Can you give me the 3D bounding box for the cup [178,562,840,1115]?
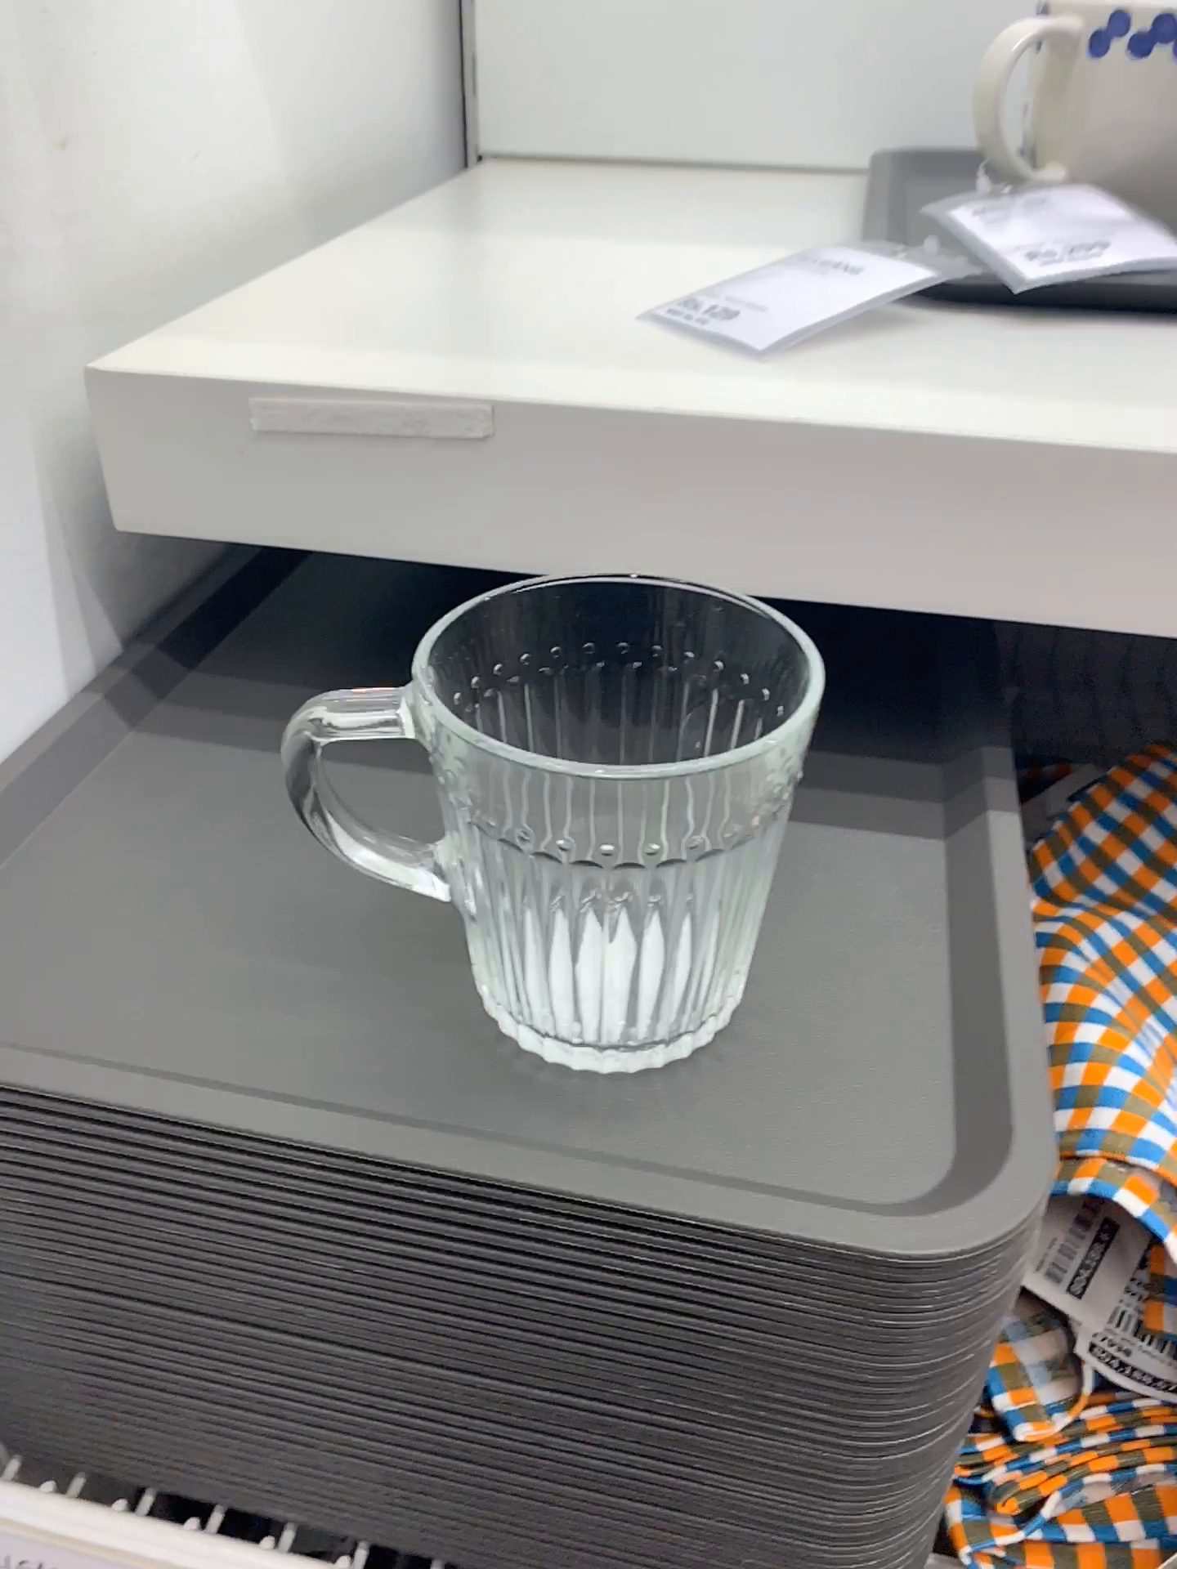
[{"bbox_3d":[-0.012,0.008,0.257,0.110,0.080,0.080,2,33,2],"label":"cup"}]
